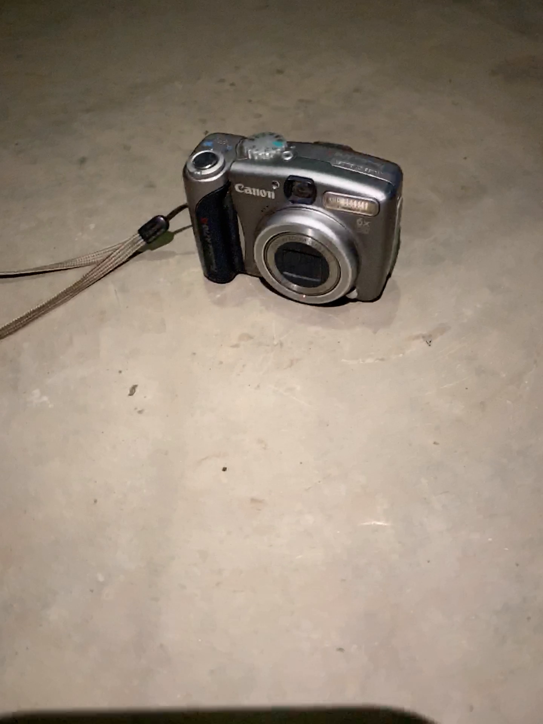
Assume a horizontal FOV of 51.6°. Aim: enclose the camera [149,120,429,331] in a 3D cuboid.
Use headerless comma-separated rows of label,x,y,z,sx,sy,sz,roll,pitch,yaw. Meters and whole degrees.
camera,0.009,-0.064,0.260,0.108,0.060,0.048,15,52,15
